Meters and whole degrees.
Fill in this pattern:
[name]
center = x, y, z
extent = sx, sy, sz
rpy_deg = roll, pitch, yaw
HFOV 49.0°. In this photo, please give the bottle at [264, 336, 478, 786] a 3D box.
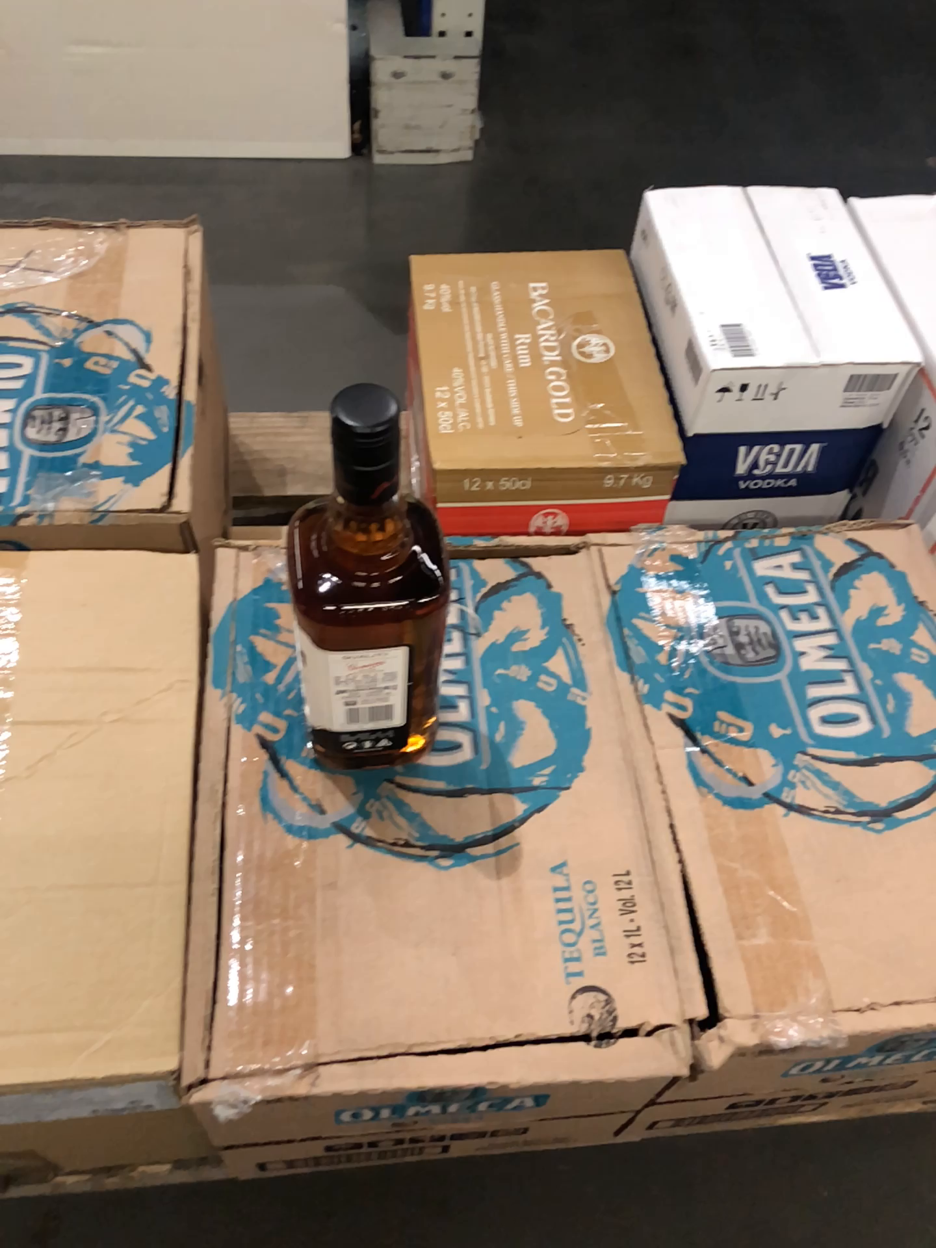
[bottle]
center = -0.054, -0.018, 0.548
extent = 0.086, 0.259, 0.090
rpy_deg = 2, 53, -3
